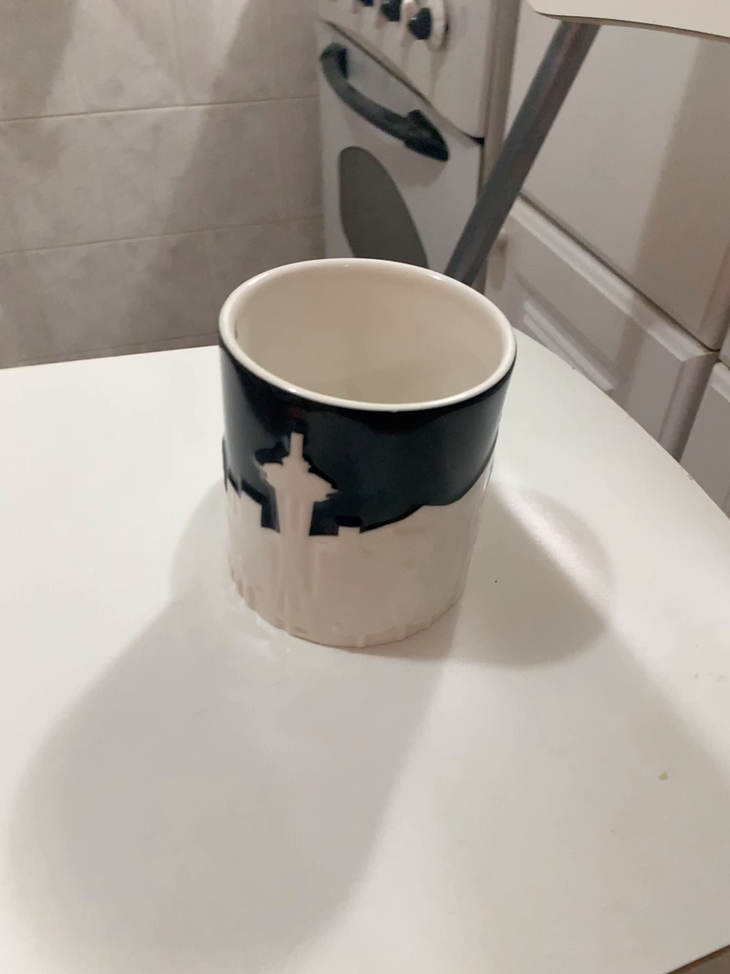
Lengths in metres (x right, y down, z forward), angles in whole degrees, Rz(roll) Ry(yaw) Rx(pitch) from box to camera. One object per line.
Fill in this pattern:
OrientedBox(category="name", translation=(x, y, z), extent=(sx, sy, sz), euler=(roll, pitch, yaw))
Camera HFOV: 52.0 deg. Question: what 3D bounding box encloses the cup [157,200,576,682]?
OrientedBox(category="cup", translation=(-0.011, -0.027, 0.284), extent=(0.104, 0.100, 0.144), euler=(-11, 43, -12))
